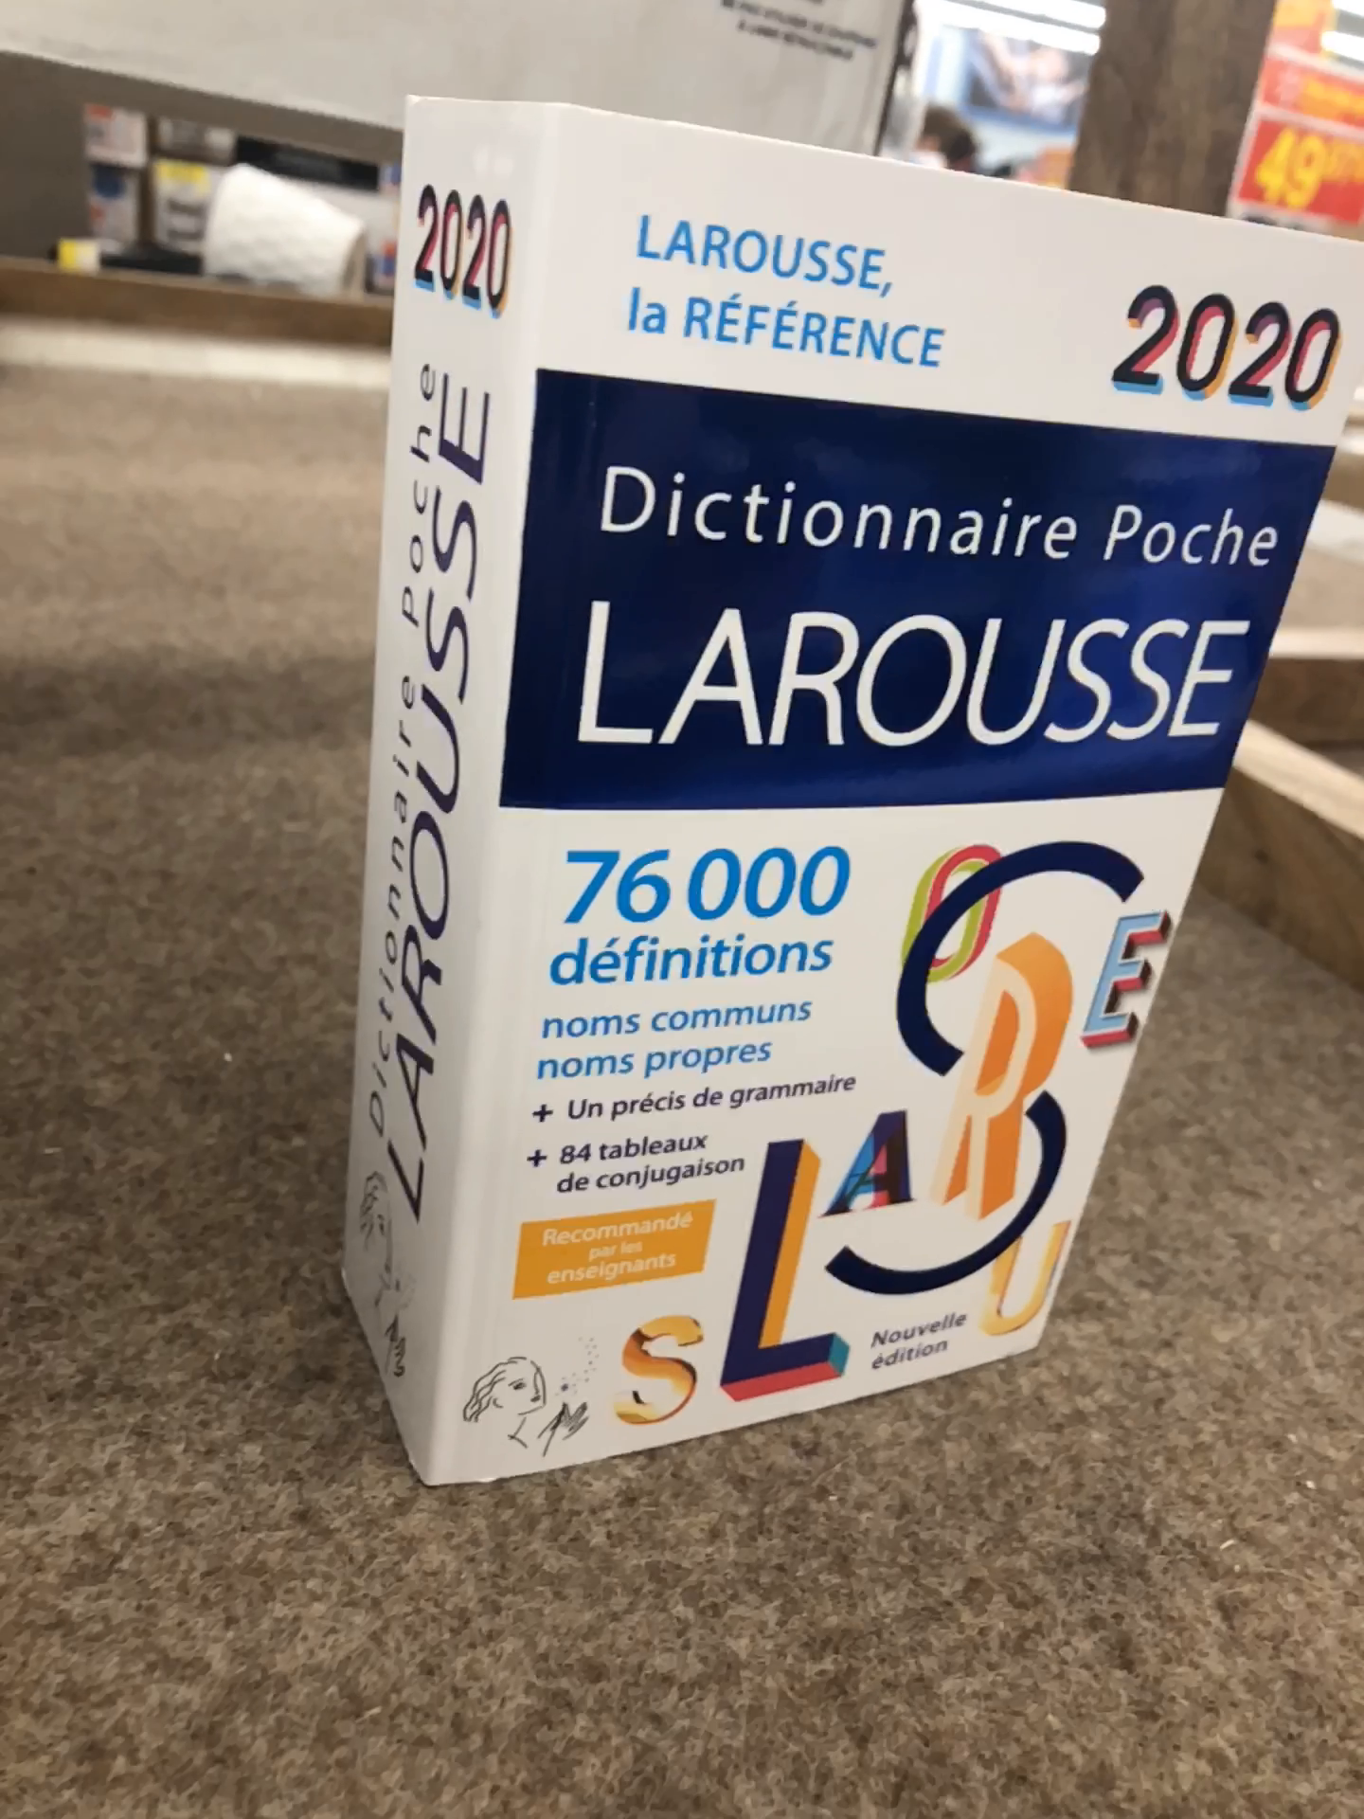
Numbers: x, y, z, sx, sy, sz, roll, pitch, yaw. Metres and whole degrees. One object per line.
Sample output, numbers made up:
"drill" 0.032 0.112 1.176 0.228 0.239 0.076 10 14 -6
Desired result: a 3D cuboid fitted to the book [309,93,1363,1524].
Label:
"book" 0.011 -0.012 0.221 0.111 0.173 0.061 -4 27 -26
